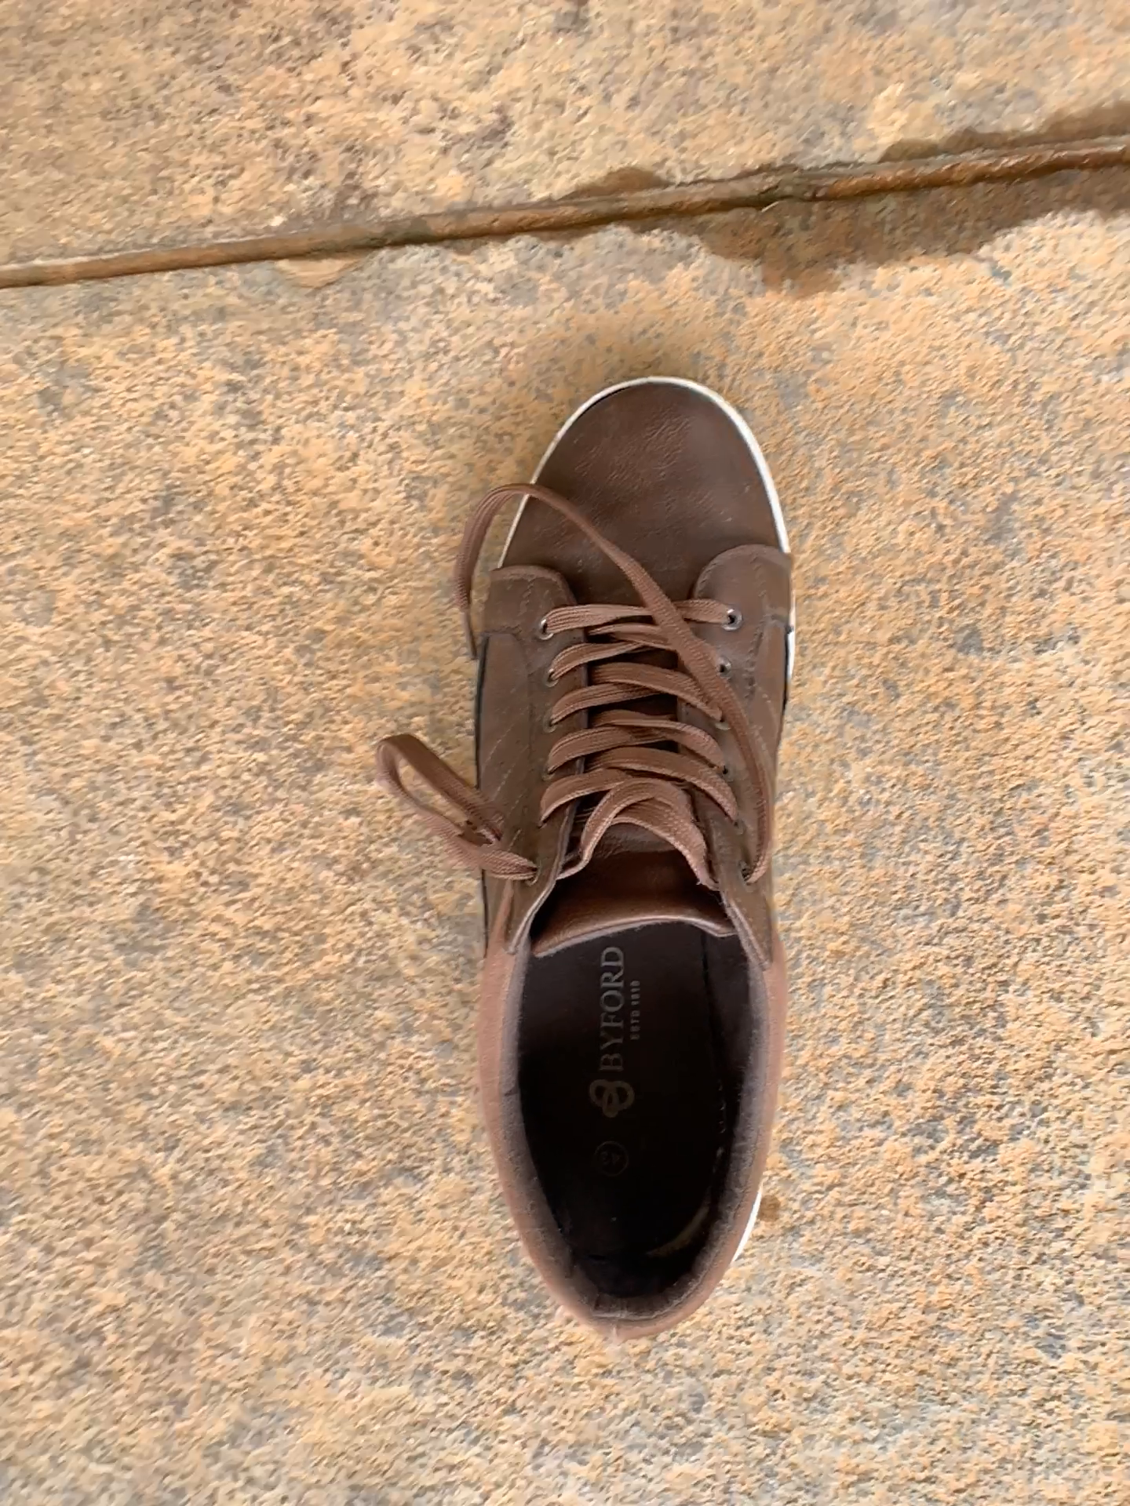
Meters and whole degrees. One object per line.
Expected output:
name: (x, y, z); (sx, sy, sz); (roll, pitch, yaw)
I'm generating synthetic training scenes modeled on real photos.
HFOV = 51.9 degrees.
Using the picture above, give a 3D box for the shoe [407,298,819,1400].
shoe: (0.018, 0.023, 0.366); (0.110, 0.080, 0.300); (-2, 82, 11)
